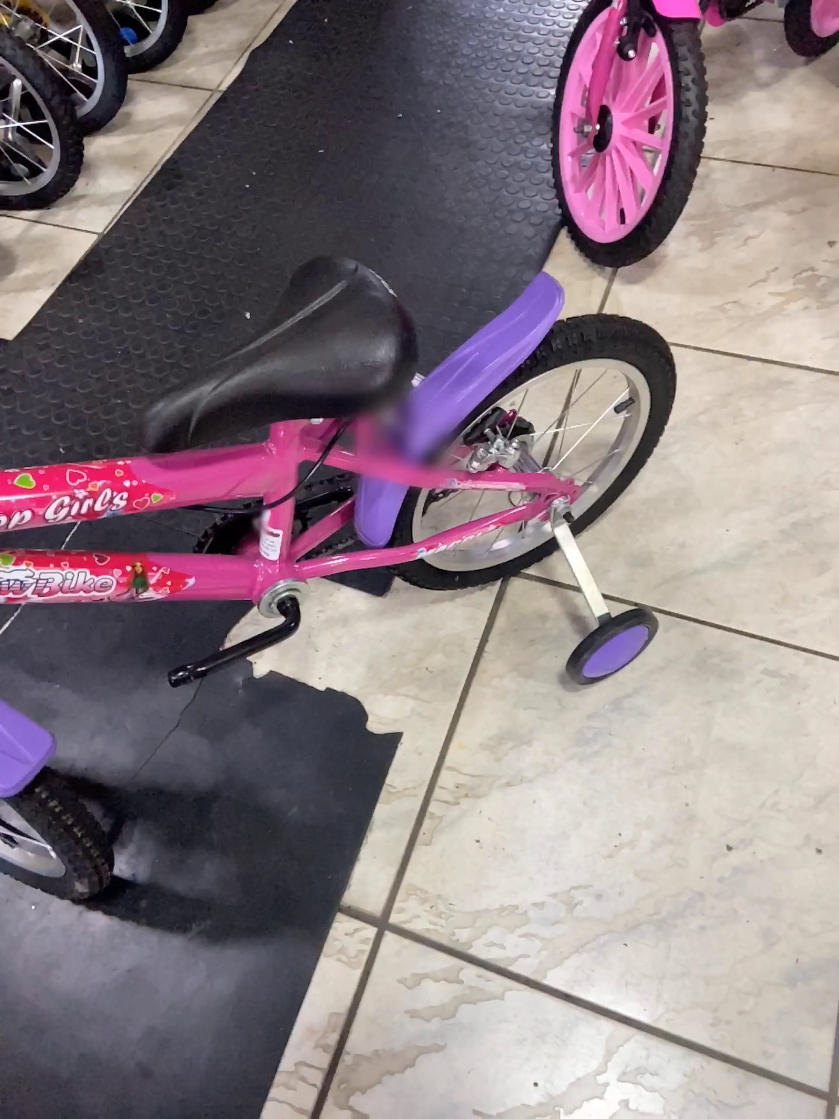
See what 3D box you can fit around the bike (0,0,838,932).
[{"bbox_3d":[-0.247,-0.124,0.796,0.921,0.704,0.547,-22,59,-3],"label":"bike"}]
